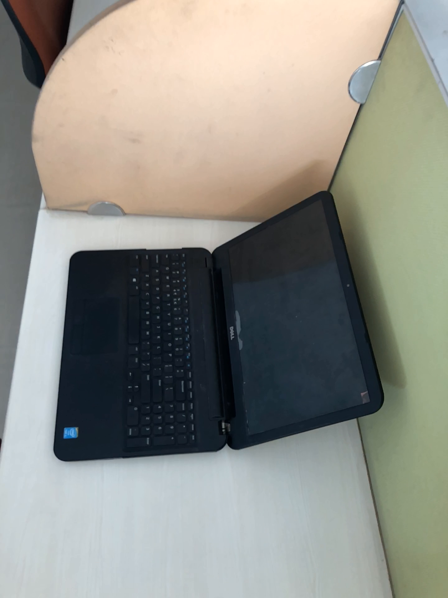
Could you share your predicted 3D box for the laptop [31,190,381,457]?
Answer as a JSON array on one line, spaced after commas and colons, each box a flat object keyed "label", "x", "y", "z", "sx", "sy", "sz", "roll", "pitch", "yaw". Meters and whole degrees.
[{"label": "laptop", "x": -0.037, "y": 0.027, "z": 0.755, "sx": 0.424, "sy": 0.166, "sz": 0.357, "roll": -1, "pitch": 60, "yaw": -7}]
